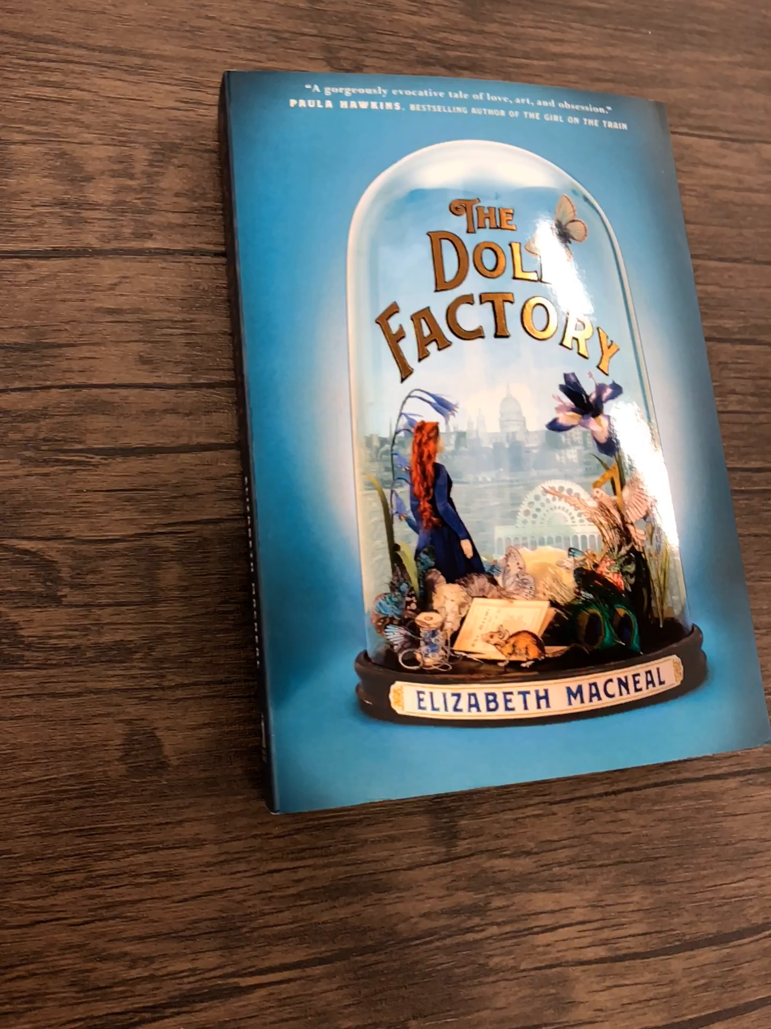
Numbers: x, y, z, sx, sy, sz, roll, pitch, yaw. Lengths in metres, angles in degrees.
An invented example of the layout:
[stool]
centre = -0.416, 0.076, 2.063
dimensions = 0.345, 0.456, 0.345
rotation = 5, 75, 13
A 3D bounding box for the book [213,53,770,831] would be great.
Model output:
[book]
centre = 0.033, -0.030, 0.288
dimensions = 0.160, 0.040, 0.230
rotation = -3, 80, -17
